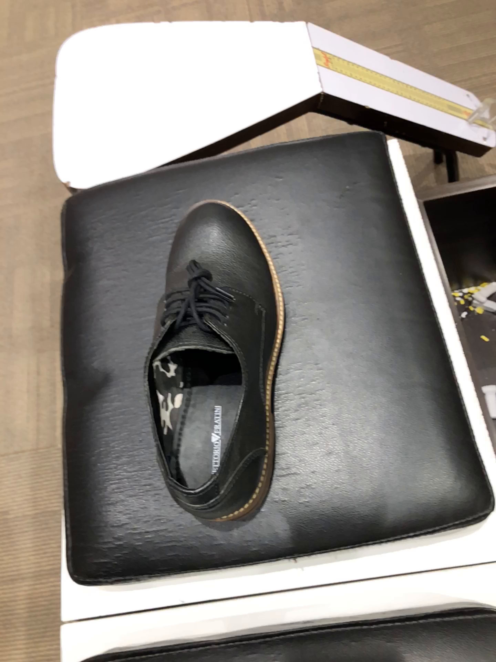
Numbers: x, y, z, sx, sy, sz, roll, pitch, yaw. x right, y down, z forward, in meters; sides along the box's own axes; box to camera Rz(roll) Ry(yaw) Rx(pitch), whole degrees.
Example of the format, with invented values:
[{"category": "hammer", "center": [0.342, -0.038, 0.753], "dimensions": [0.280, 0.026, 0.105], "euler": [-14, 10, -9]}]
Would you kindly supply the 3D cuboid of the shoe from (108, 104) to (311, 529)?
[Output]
[{"category": "shoe", "center": [-0.028, -0.012, 0.412], "dimensions": [0.110, 0.100, 0.291], "euler": [-8, 67, 8]}]
